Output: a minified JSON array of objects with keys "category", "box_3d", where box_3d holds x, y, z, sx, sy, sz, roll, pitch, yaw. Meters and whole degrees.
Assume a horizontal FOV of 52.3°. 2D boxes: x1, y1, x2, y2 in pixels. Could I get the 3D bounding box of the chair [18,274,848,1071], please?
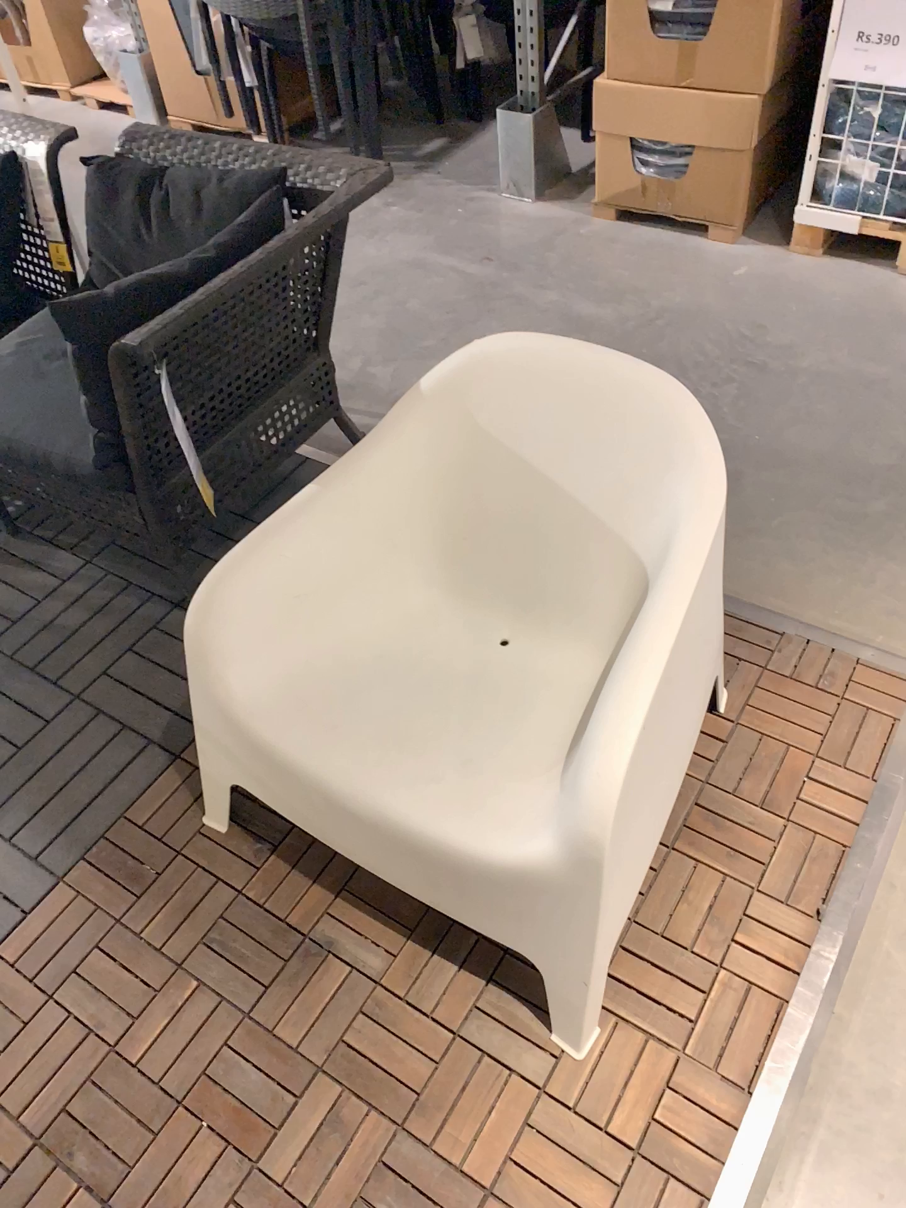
[{"category":"chair","box_3d":[0.017,0.043,1.410,0.771,0.638,0.761,24,54,26]}]
